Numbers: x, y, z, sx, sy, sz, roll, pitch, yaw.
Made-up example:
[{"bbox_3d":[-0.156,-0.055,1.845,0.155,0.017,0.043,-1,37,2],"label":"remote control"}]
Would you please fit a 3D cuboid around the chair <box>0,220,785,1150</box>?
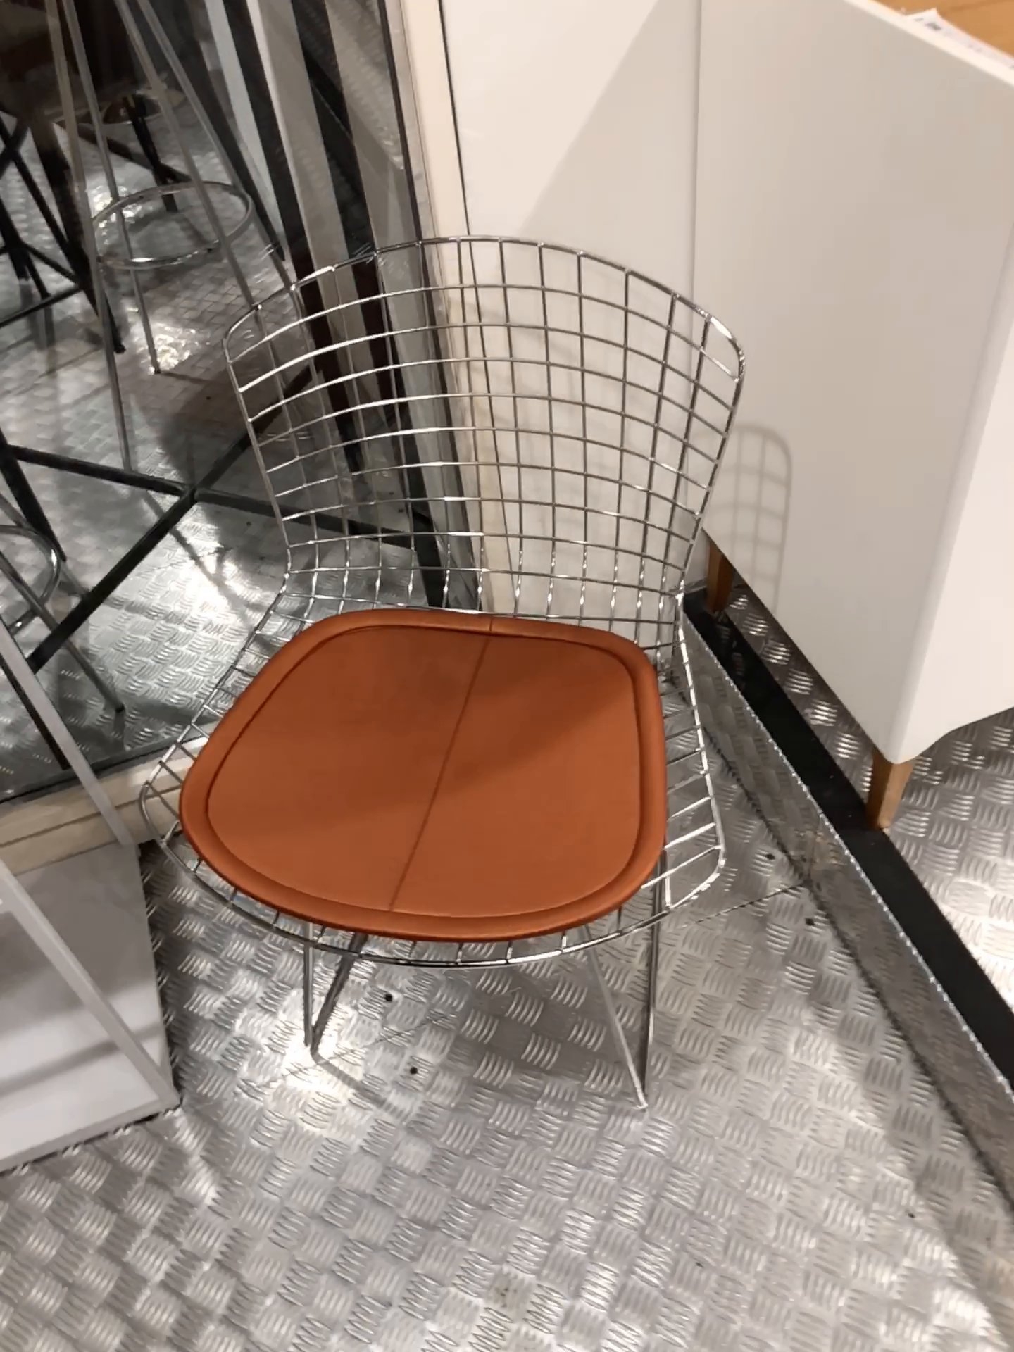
[{"bbox_3d":[-0.038,0.015,1.132,0.550,0.706,0.573,5,48,12],"label":"chair"}]
